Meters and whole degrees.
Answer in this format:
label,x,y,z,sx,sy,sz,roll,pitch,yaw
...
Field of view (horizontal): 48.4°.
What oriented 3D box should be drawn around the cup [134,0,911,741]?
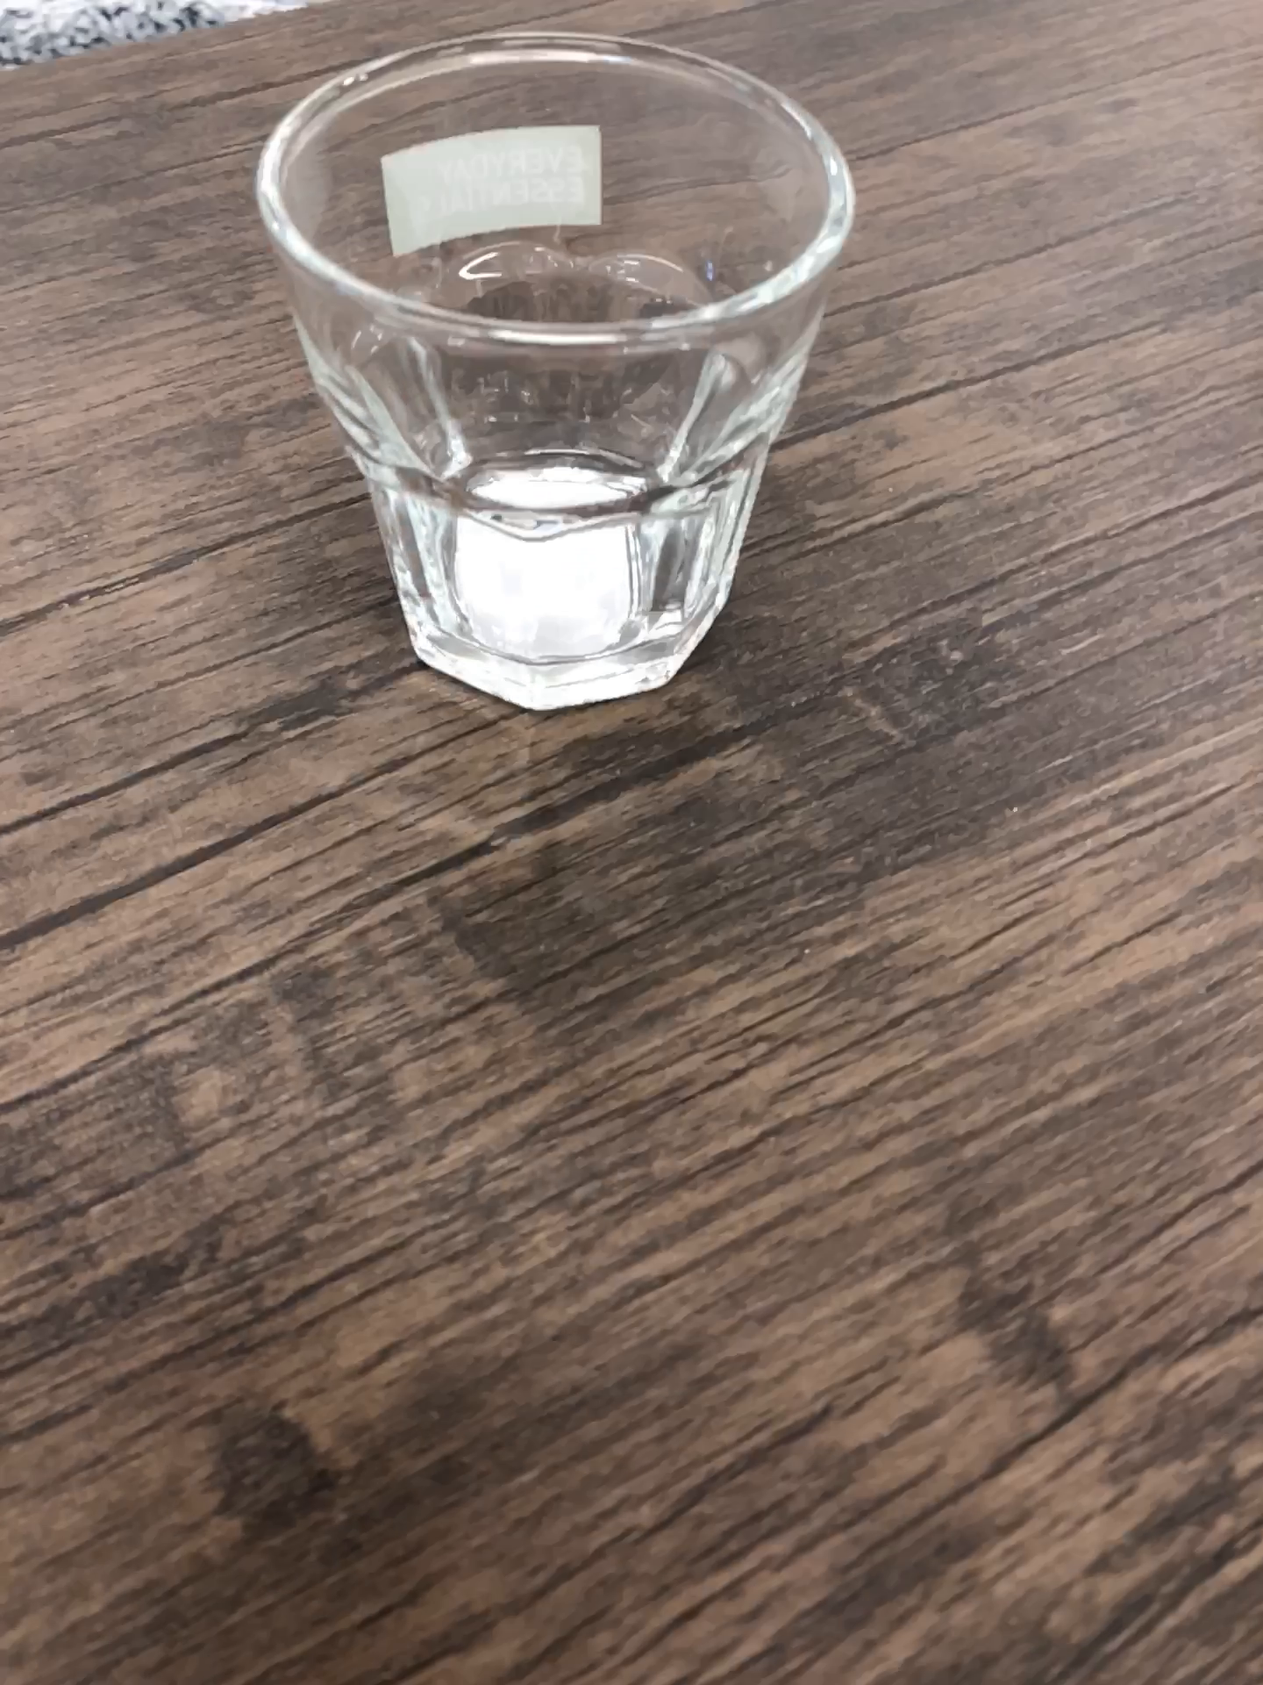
label,x,y,z,sx,sy,sz,roll,pitch,yaw
cup,-0.015,-0.074,0.218,0.090,0.070,0.090,1,53,-1
